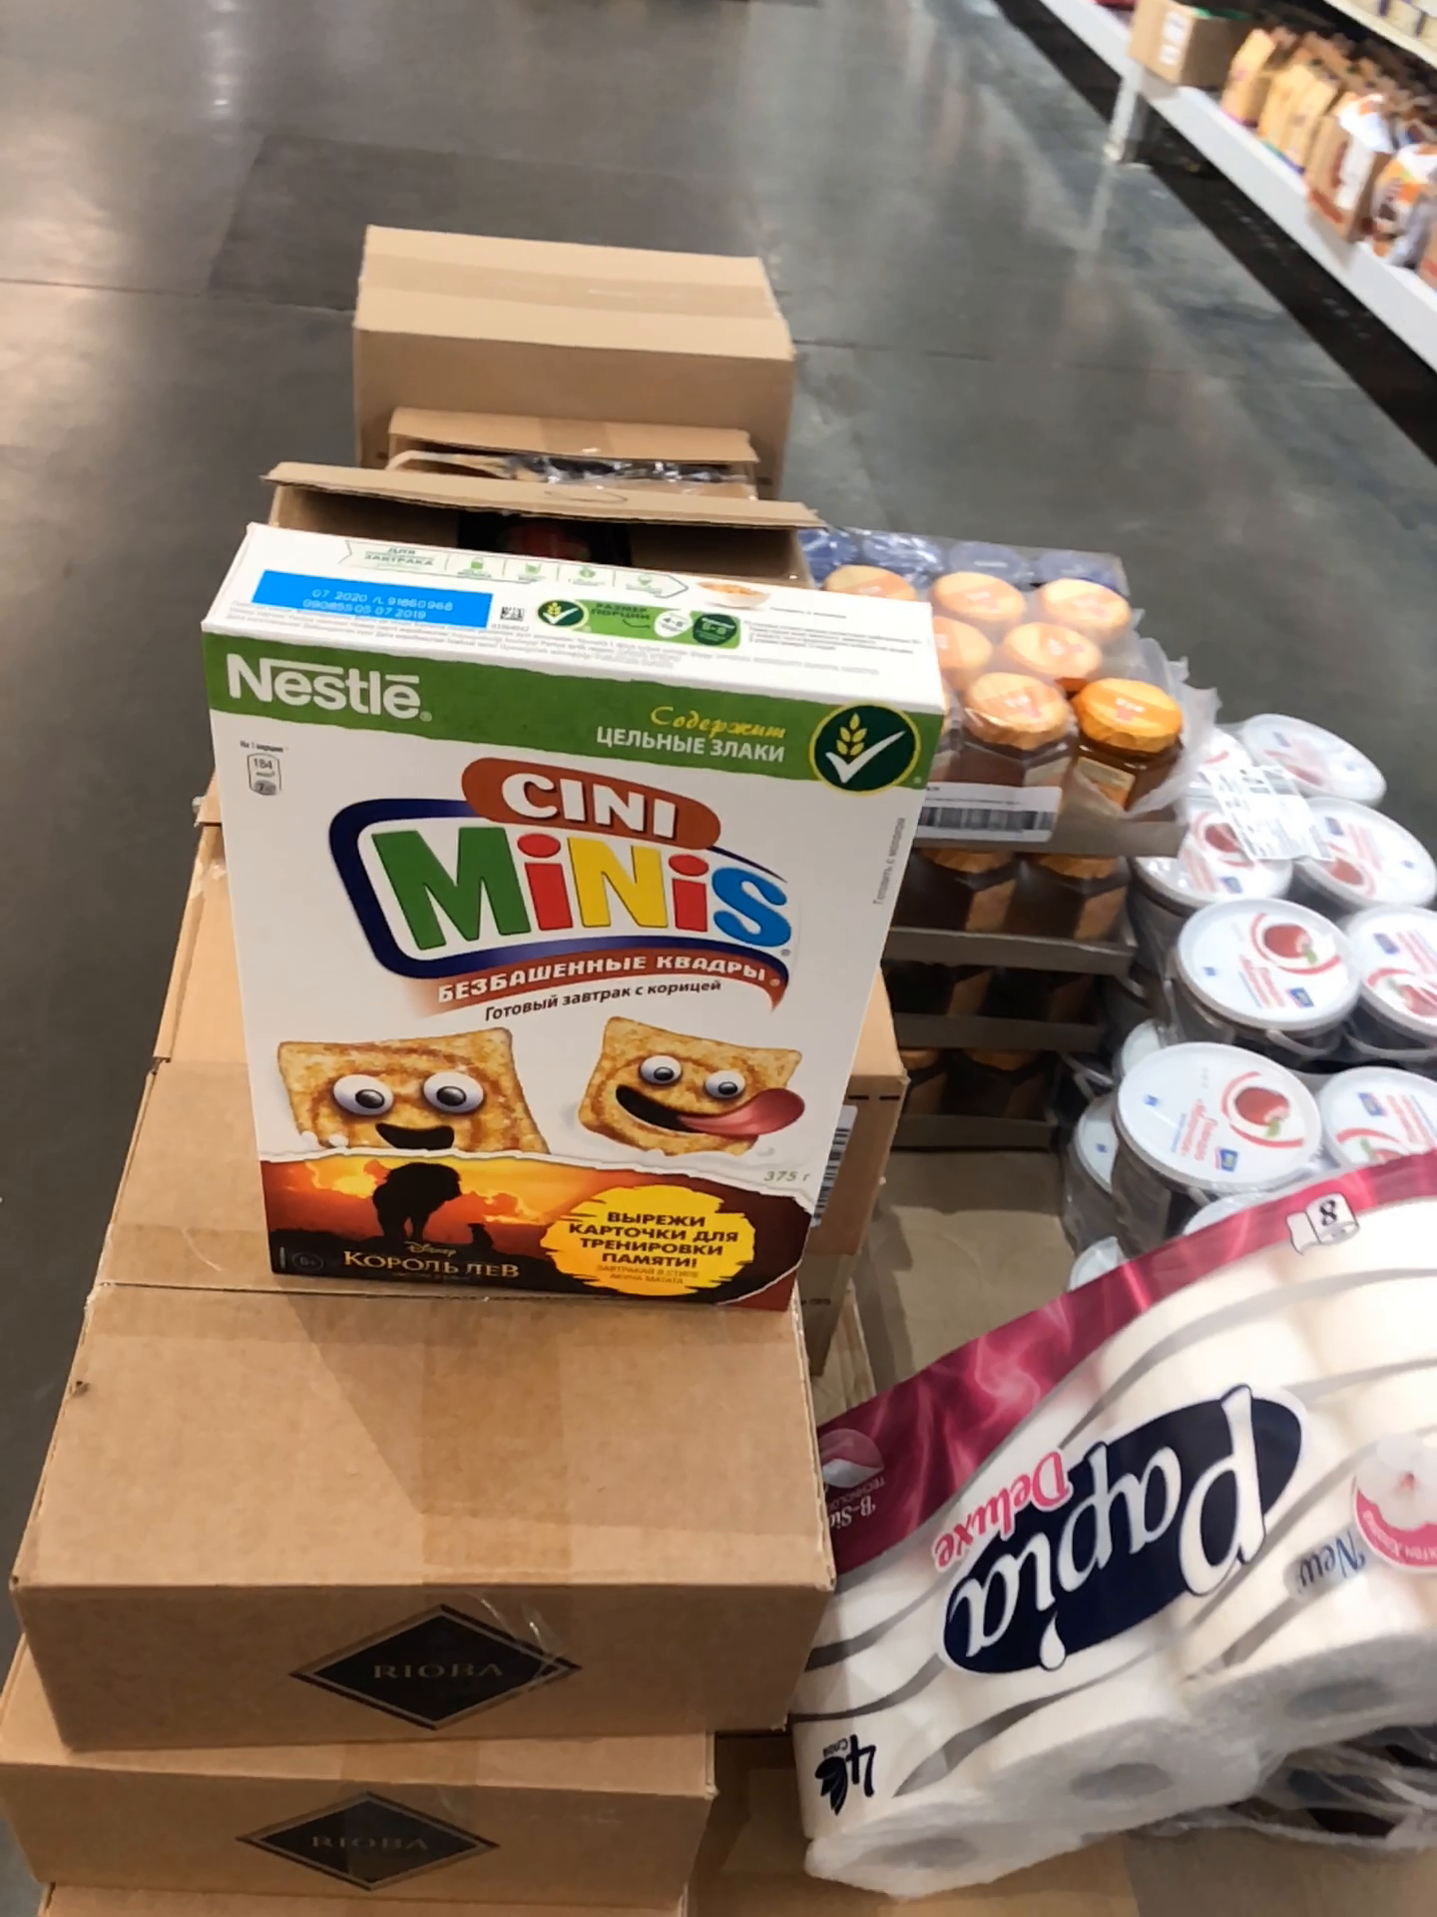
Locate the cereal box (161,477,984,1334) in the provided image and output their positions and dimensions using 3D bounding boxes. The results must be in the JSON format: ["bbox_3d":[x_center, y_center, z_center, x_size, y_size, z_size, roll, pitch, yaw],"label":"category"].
[{"bbox_3d":[-0.048,0.004,0.498,0.200,0.278,0.060,6,42,-2],"label":"cereal box"}]
